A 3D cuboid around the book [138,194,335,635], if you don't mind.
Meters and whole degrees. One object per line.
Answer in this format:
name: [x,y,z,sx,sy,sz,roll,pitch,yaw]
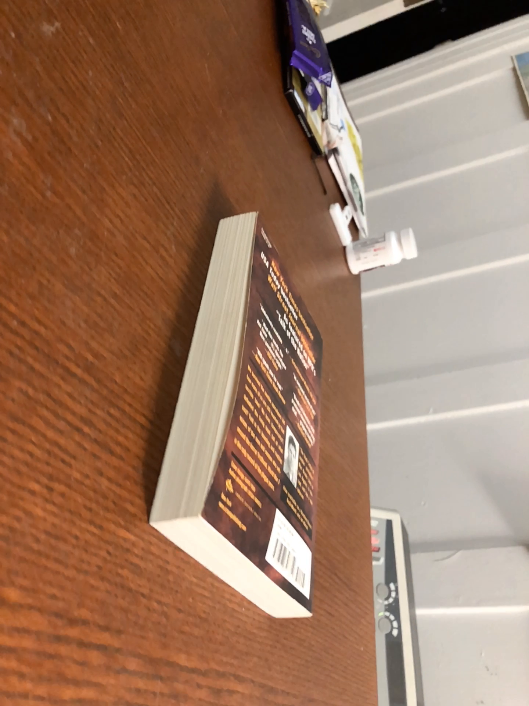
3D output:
book: [0.002,0.029,0.350,0.140,0.030,0.221,58,29,-42]
